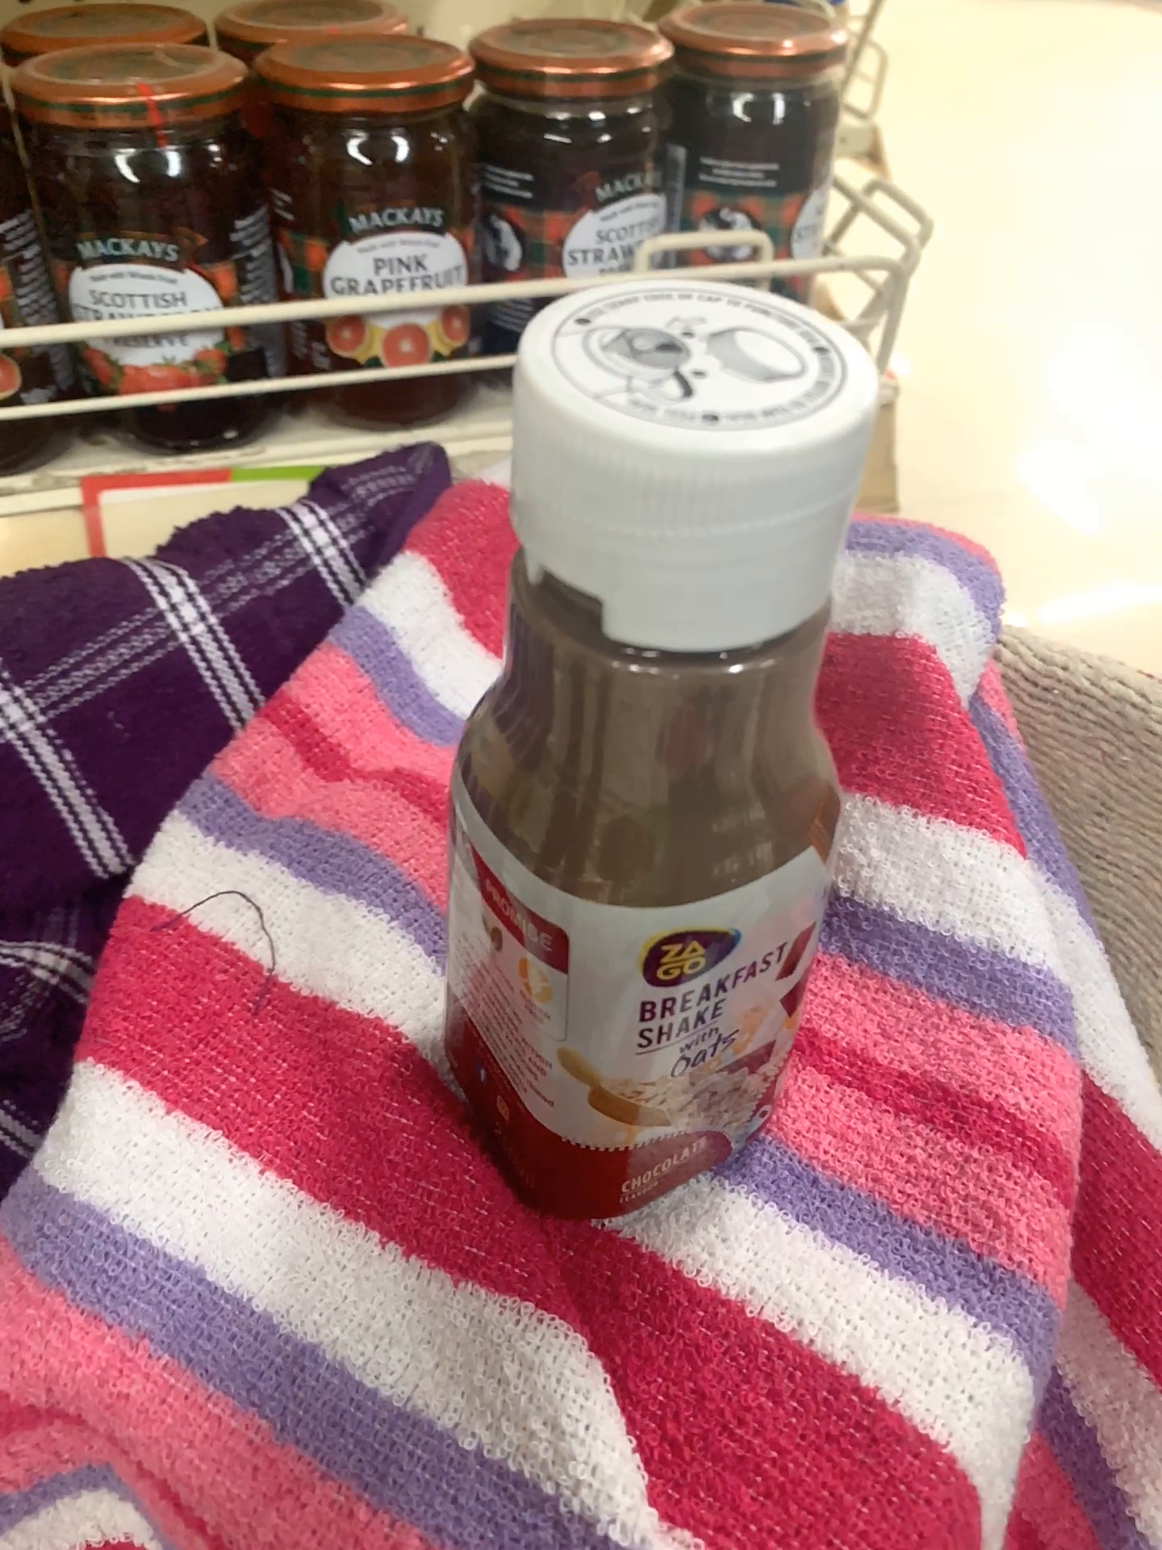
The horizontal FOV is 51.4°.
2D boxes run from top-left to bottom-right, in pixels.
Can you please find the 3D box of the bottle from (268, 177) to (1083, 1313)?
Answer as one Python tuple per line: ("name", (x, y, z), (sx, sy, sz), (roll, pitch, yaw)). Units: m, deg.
("bottle", (0.006, 0.005, 0.163), (0.060, 0.139, 0.050), (-22, 48, -24))
